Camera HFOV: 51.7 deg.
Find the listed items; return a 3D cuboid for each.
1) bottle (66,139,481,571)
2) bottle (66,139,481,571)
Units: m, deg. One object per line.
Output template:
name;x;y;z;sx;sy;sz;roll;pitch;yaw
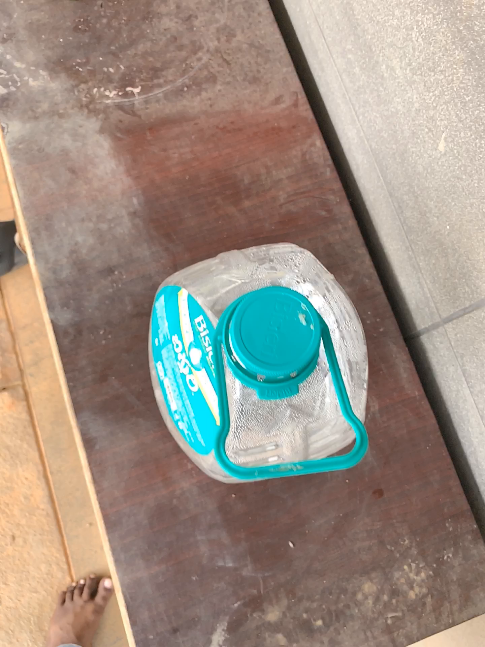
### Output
bottle;0.005;0.028;0.383;0.180;0.220;0.200;-15;79;-8
bottle;0.005;0.028;0.383;0.180;0.220;0.200;-15;79;-8
